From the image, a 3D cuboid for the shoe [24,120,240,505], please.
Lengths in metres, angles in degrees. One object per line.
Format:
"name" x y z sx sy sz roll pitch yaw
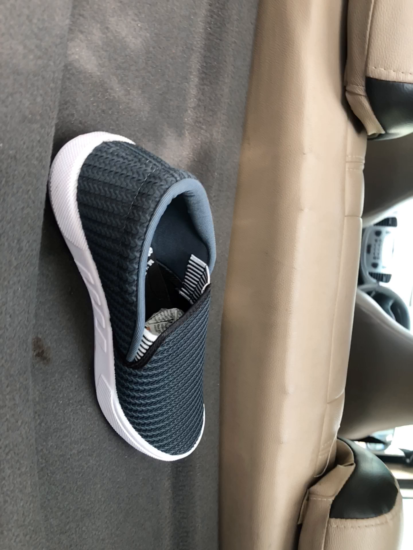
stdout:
"shoe" -0.041 0.034 0.355 0.080 0.089 0.280 -44 134 -53
